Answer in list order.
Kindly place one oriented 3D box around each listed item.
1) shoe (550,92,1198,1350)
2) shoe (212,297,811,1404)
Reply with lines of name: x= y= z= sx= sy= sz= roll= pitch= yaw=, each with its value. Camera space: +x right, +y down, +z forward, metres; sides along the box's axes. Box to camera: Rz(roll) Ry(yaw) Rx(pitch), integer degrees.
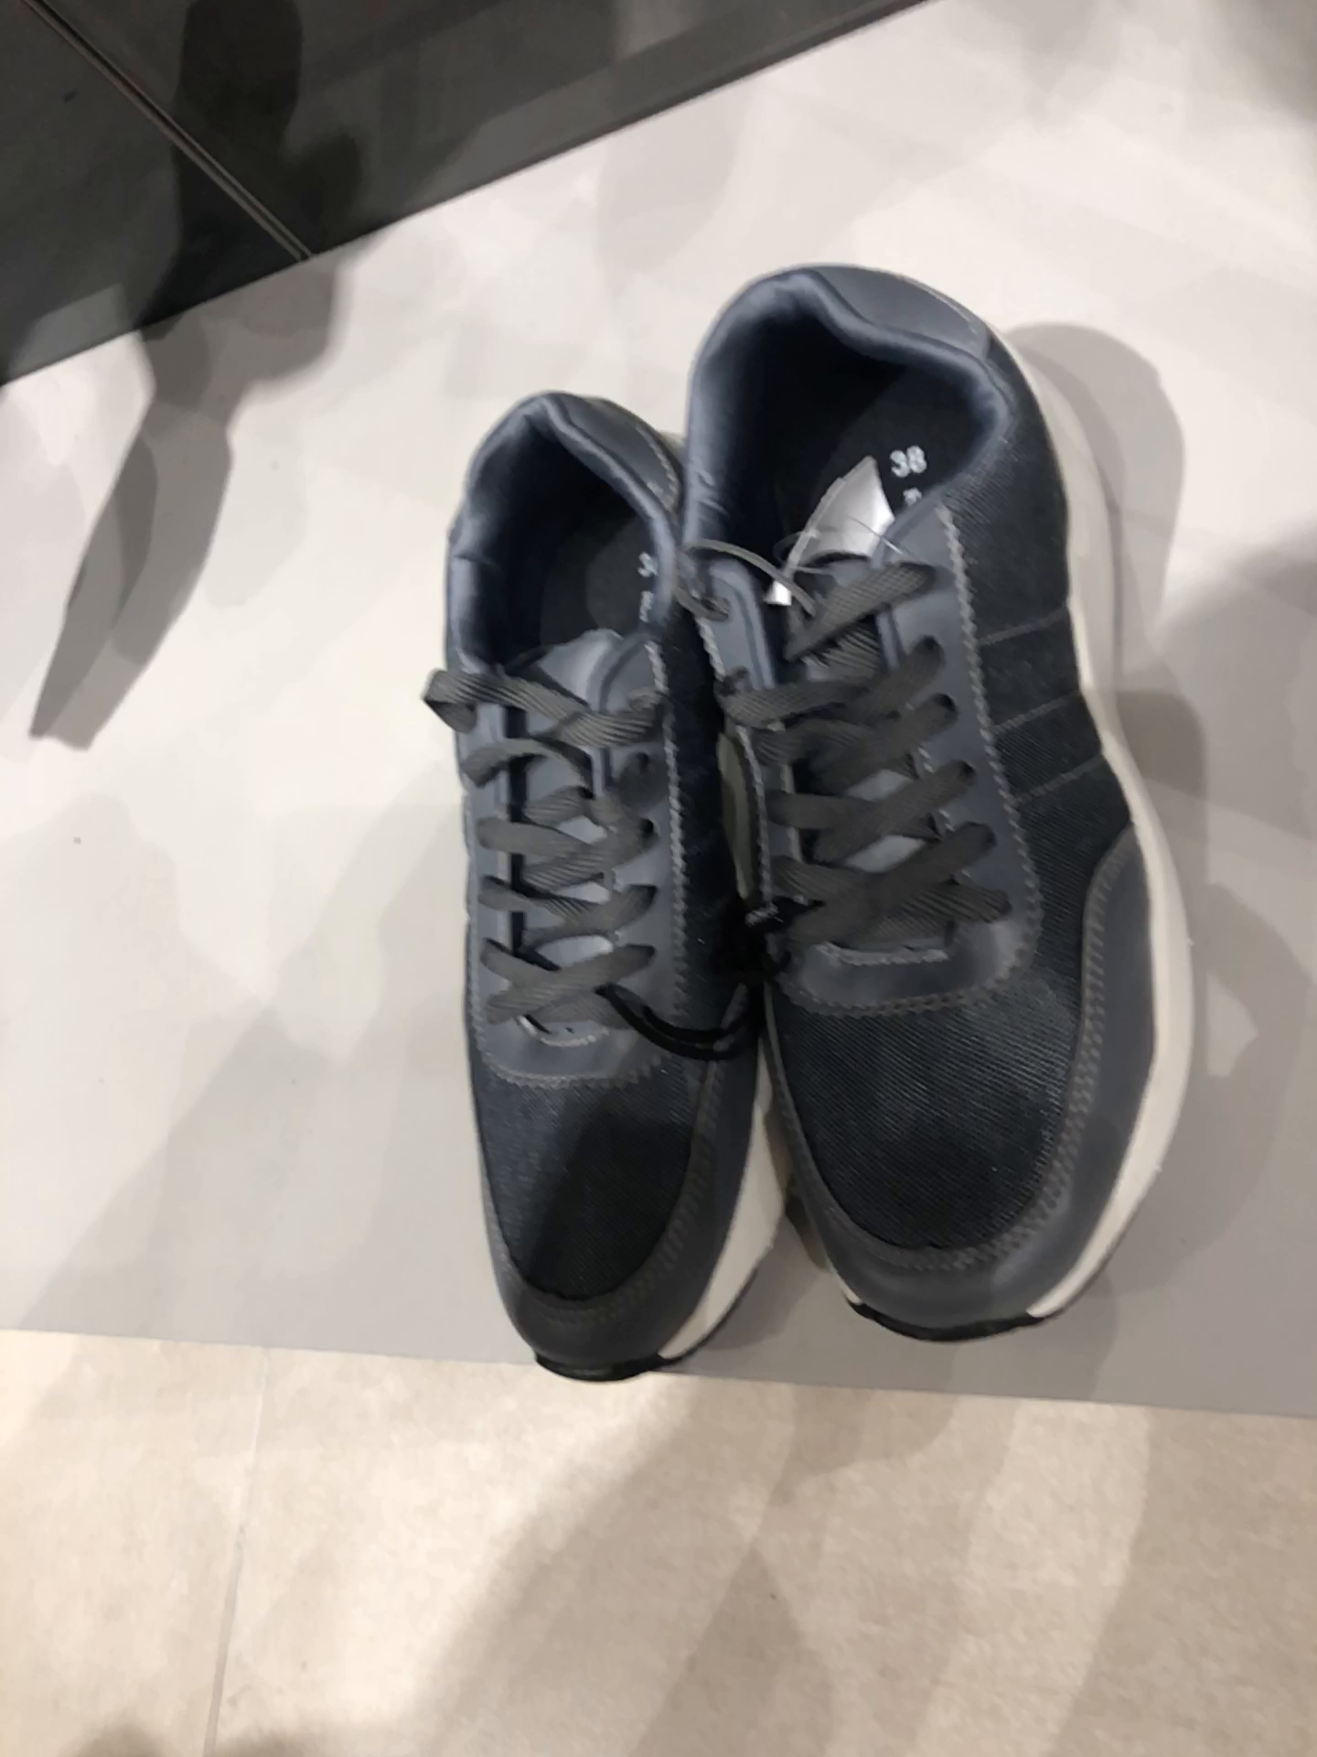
shoe: x=0.052 y=-0.032 z=0.366 sx=0.110 sy=0.100 sz=0.281 roll=-10 pitch=67 yaw=28
shoe: x=-0.030 y=-0.003 z=0.416 sx=0.110 sy=0.100 sz=0.281 roll=-8 pitch=68 yaw=29
